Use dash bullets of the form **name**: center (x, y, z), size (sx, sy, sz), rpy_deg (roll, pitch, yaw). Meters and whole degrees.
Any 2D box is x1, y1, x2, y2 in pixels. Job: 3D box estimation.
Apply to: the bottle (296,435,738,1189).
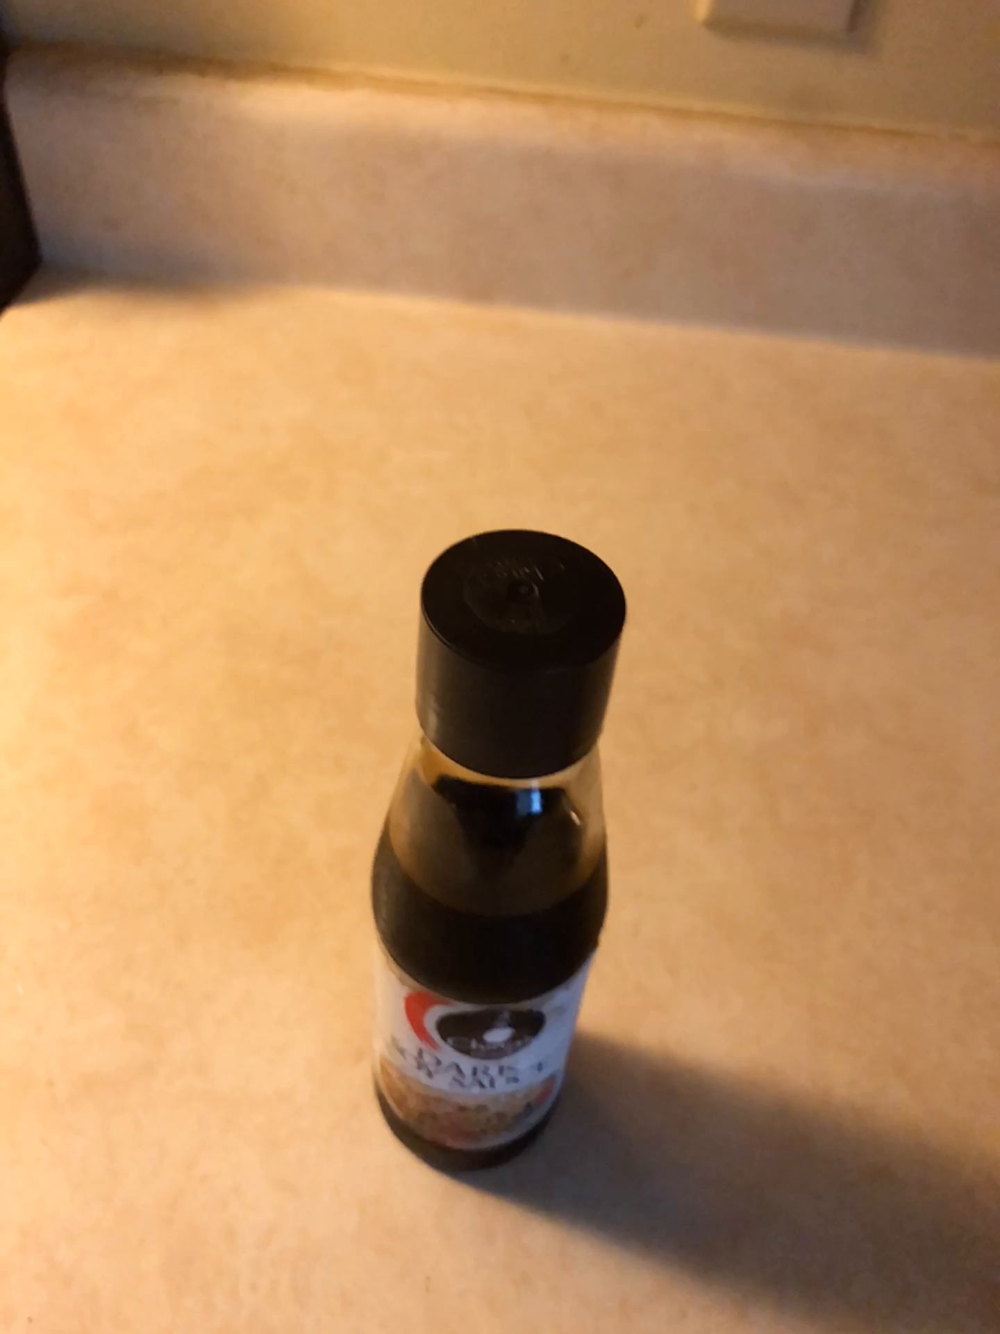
- **bottle**: center (-0.004, 0.045, 0.239), size (0.060, 0.180, 0.060), rpy_deg (3, 46, -3)
